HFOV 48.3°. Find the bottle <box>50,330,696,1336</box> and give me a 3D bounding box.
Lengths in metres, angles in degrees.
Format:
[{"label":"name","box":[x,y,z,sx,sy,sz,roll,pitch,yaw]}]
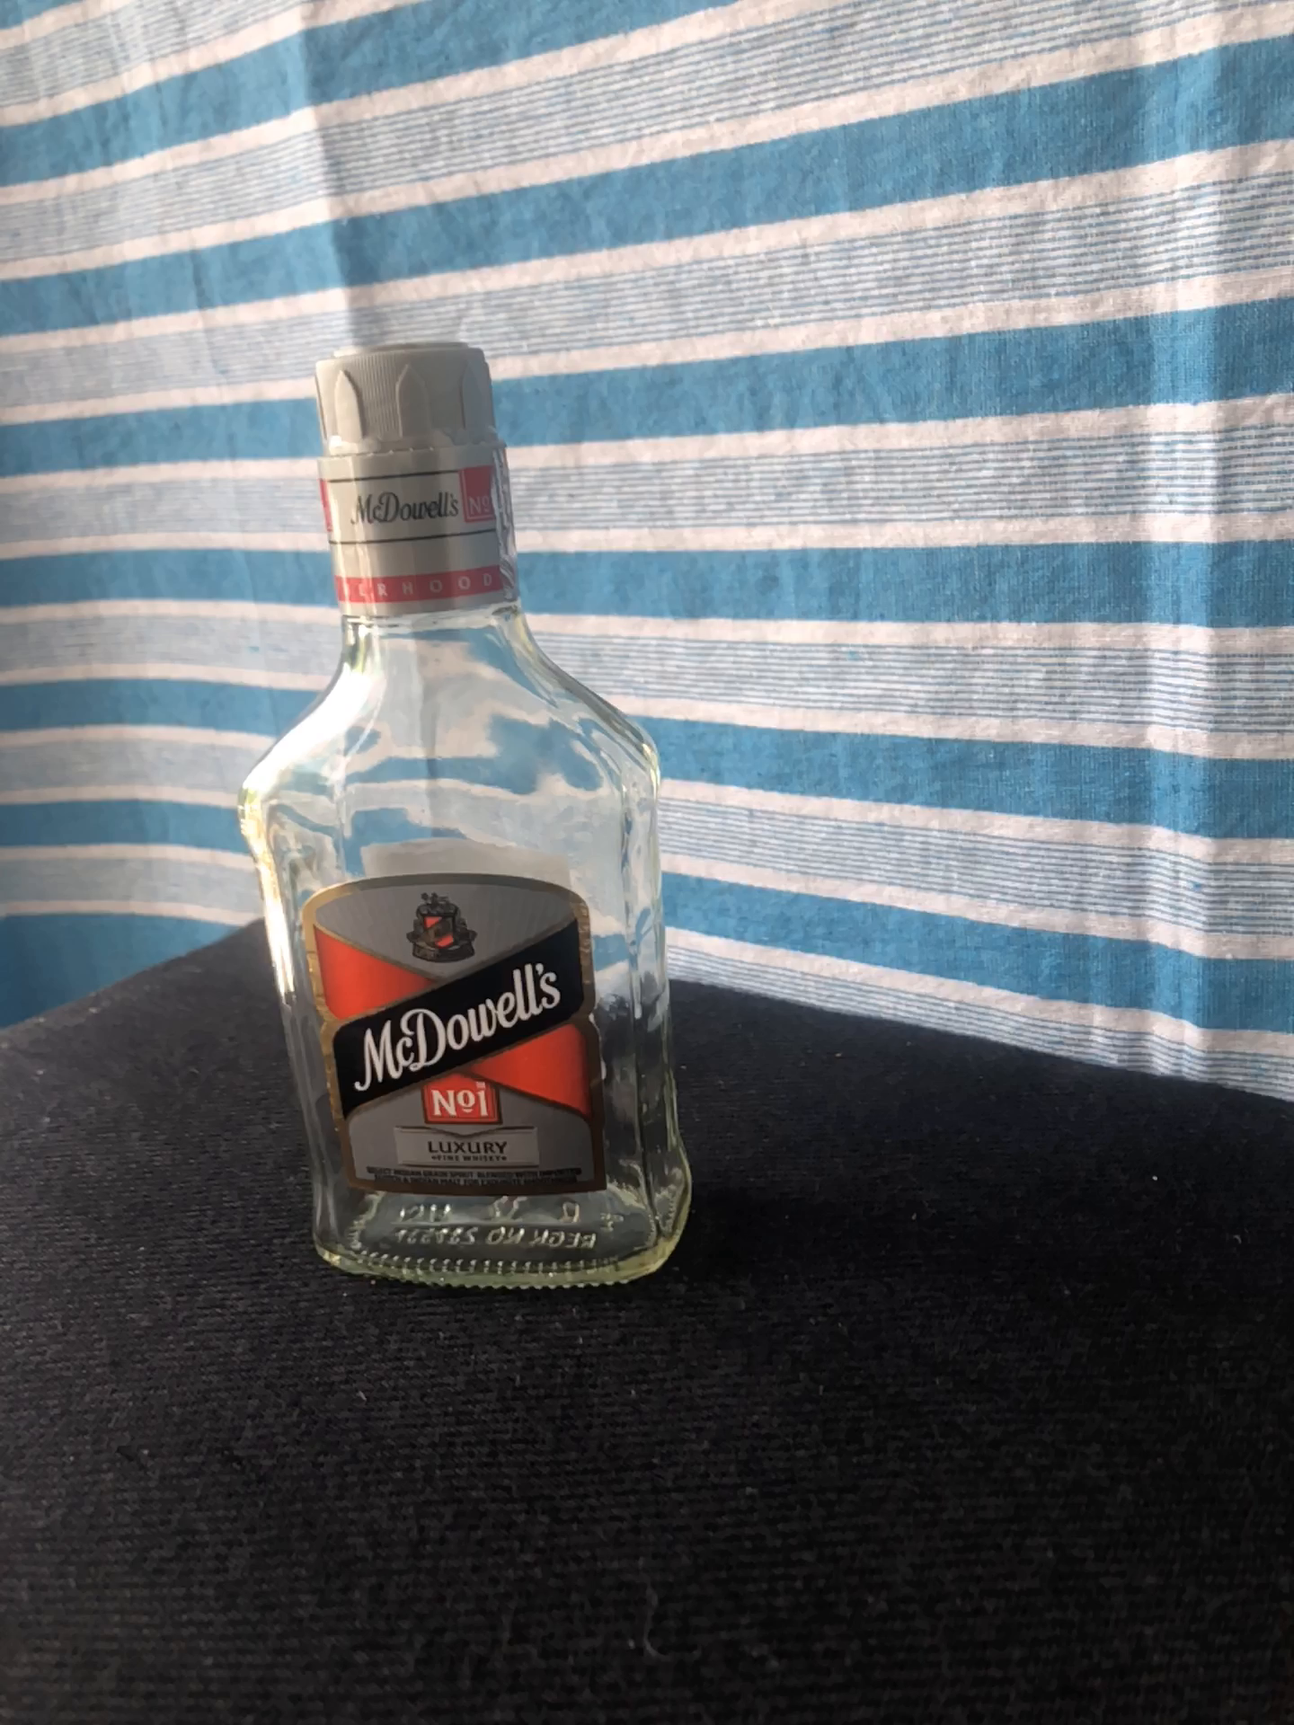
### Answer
[{"label":"bottle","box":[-0.035,-0.004,0.233,0.070,0.149,0.050,-1,20,10]}]
